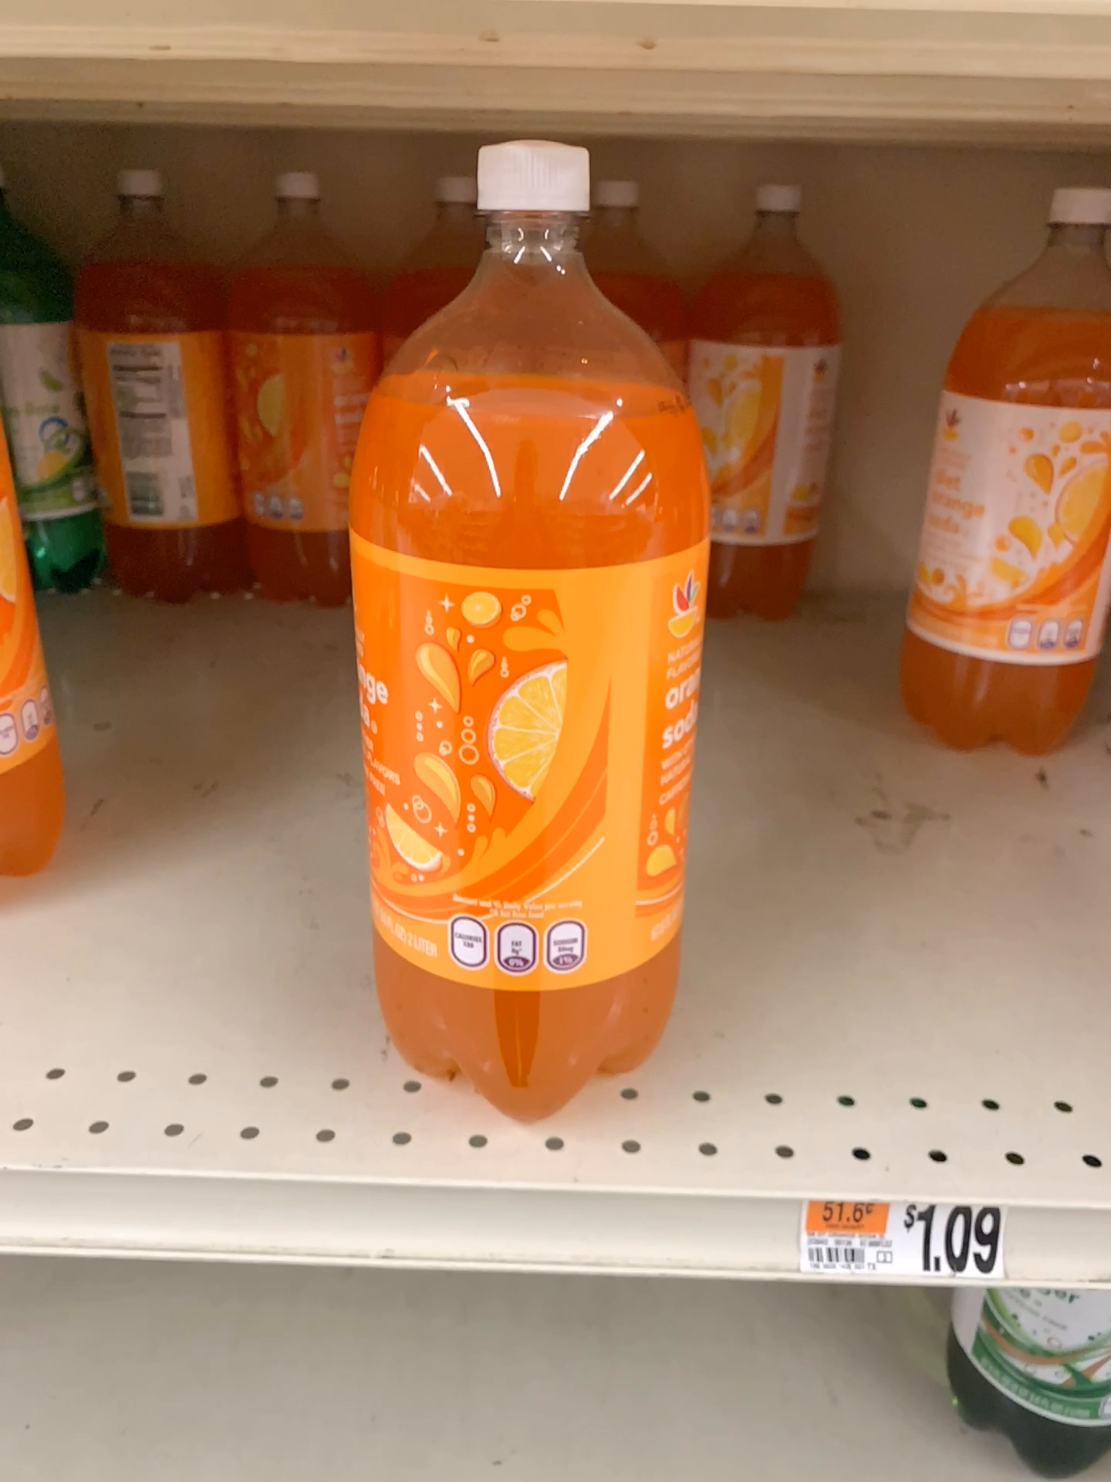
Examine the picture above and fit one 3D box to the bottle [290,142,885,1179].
[{"bbox_3d":[0.000,-0.026,0.367,0.120,0.288,0.110,1,26,-1],"label":"bottle"}]
